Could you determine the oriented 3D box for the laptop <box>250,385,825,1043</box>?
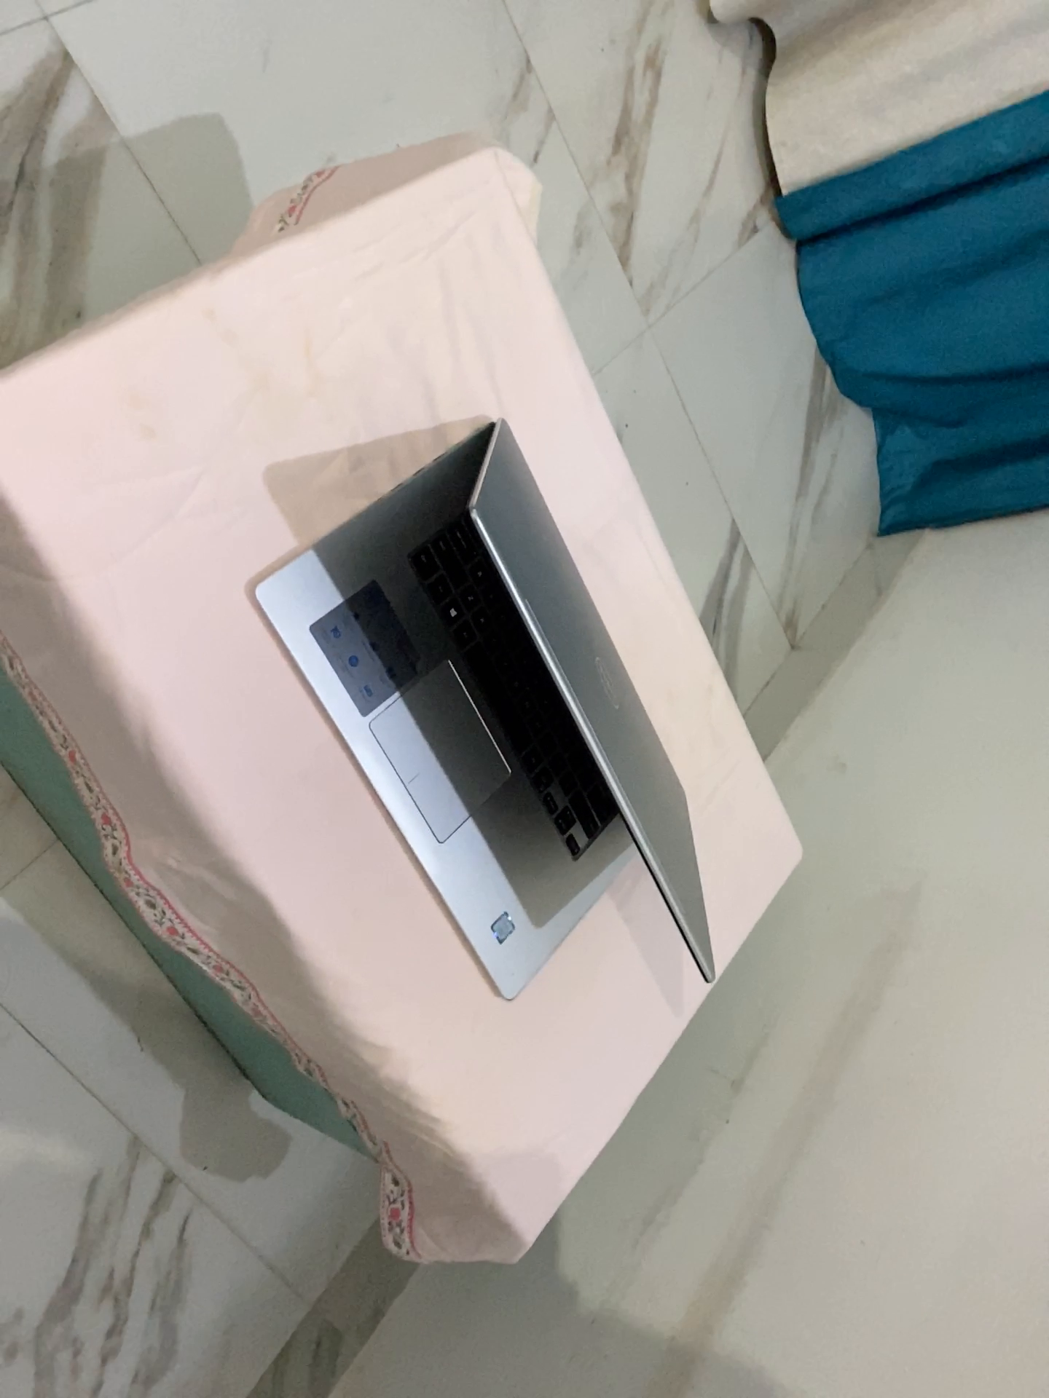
[{"bbox_3d":[0.031,0.011,0.726,0.235,0.149,0.348,-45,118,-33],"label":"laptop"}]
